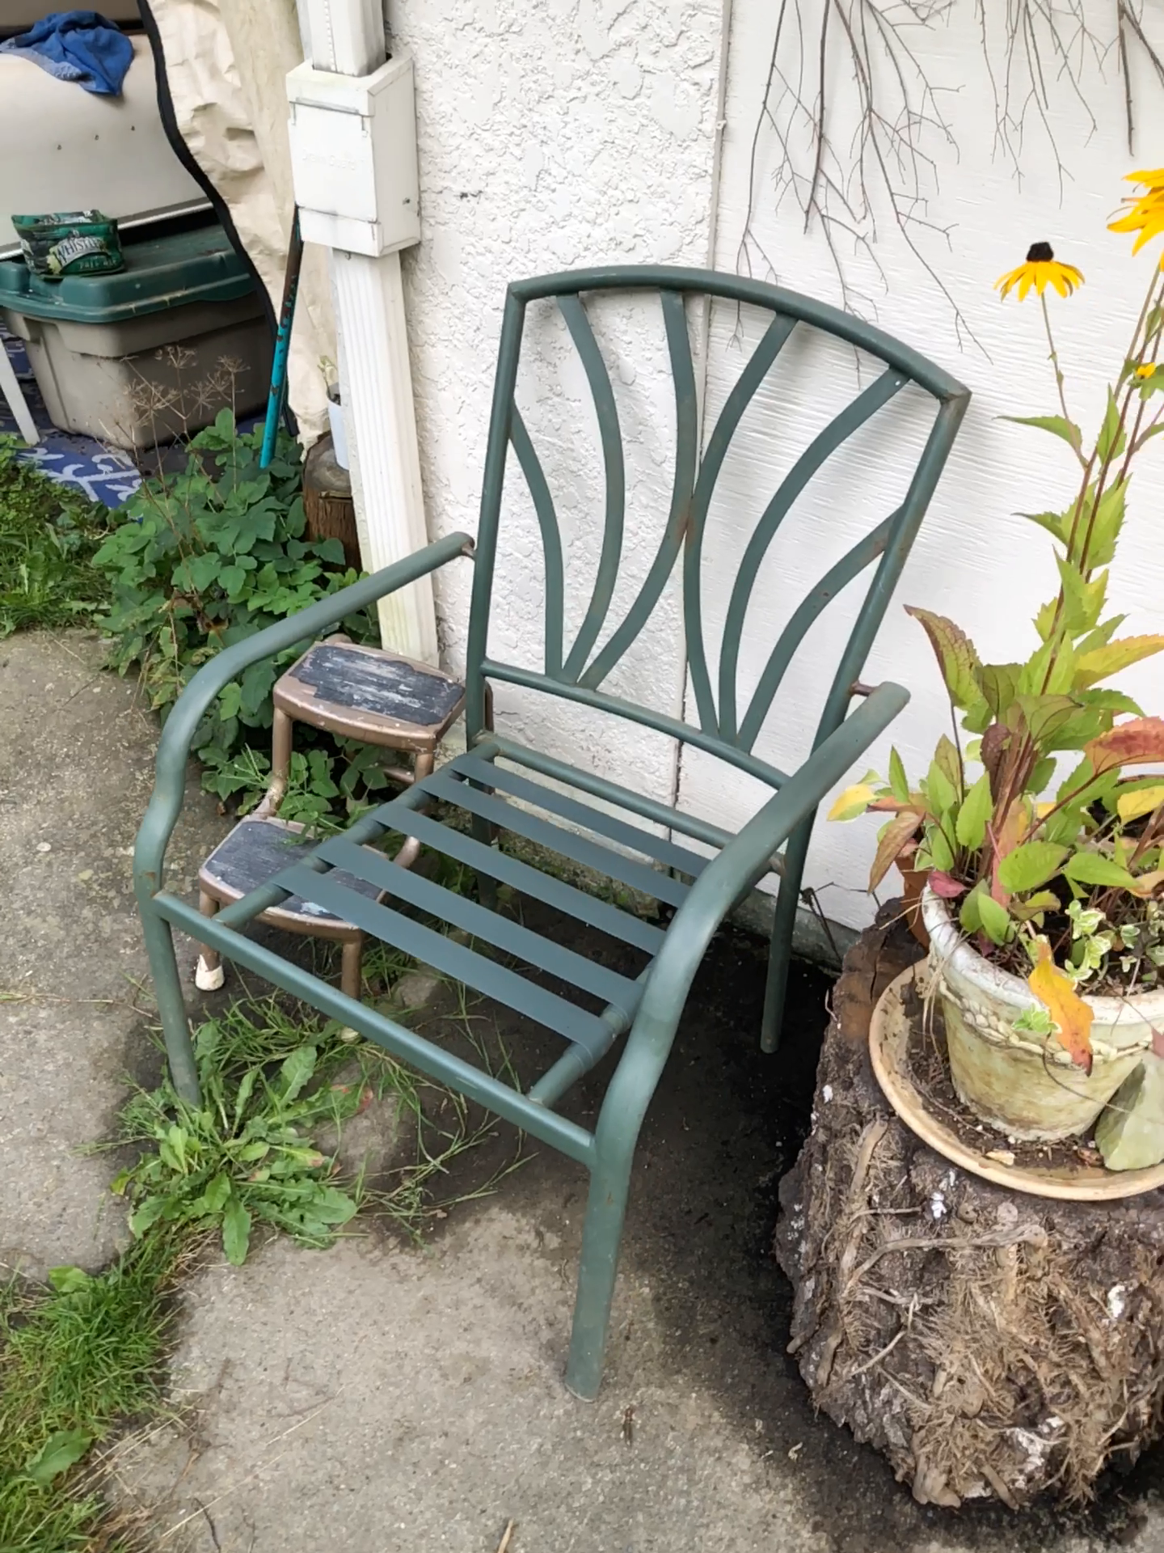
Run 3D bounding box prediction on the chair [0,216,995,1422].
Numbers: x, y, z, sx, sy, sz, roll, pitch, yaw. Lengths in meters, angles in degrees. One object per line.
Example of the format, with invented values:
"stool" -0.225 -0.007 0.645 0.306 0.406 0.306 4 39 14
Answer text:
"chair" -0.067 -0.008 1.346 0.622 0.903 0.683 21 40 27
